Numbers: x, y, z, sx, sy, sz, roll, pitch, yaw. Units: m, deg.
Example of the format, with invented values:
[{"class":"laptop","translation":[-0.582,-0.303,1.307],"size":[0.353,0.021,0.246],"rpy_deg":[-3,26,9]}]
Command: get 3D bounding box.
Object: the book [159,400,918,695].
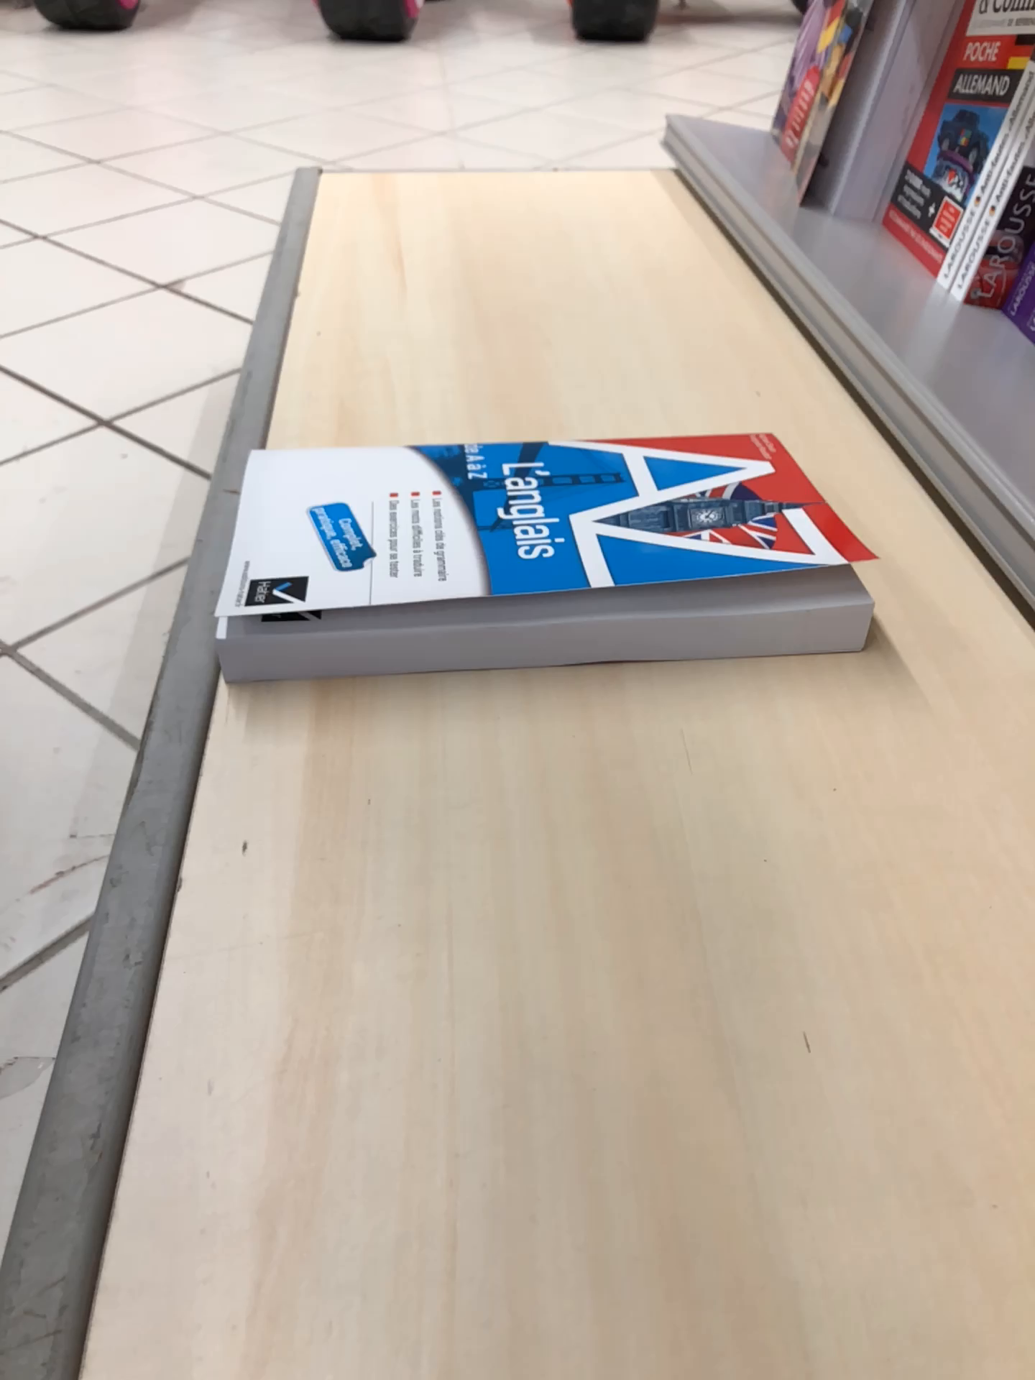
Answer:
[{"class":"book","translation":[0.003,-0.059,0.416],"size":[0.234,0.030,0.144],"rpy_deg":[-2,39,-5]}]
